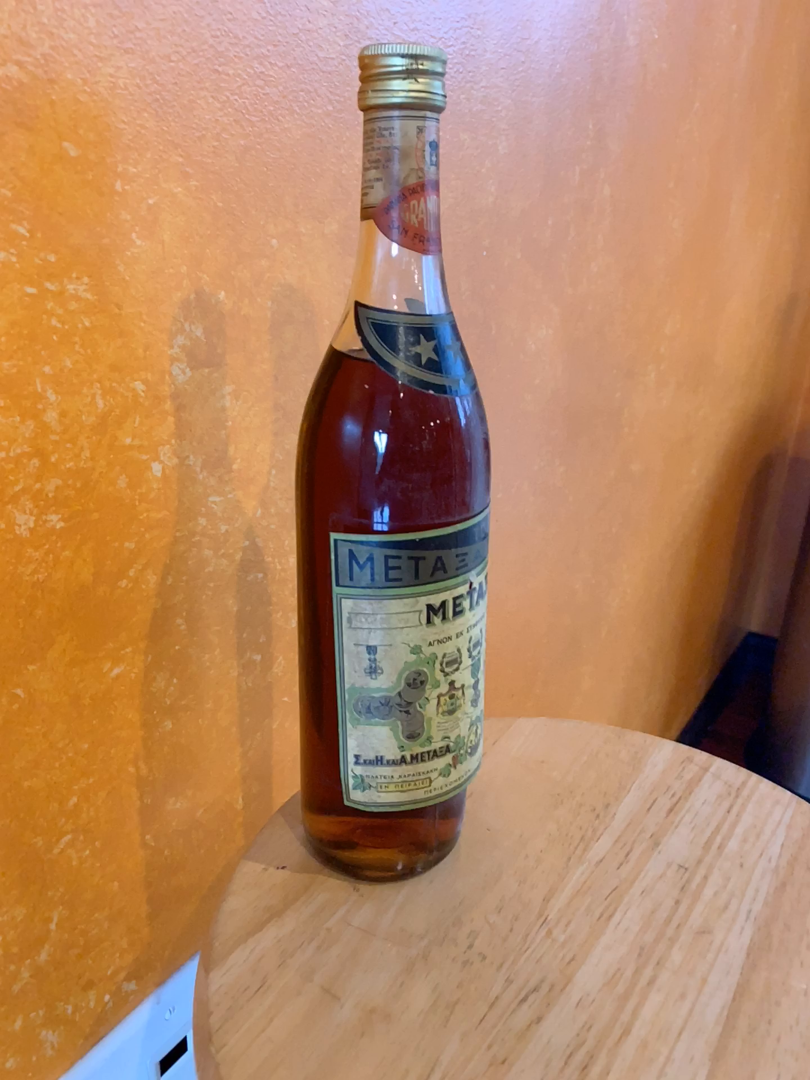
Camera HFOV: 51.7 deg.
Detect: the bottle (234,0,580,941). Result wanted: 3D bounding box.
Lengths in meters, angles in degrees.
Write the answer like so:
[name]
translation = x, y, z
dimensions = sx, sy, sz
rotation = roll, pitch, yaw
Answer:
[bottle]
translation = -0.005, -0.011, 0.304
dimensions = 0.070, 0.299, 0.080
rotation = 17, 25, 32
